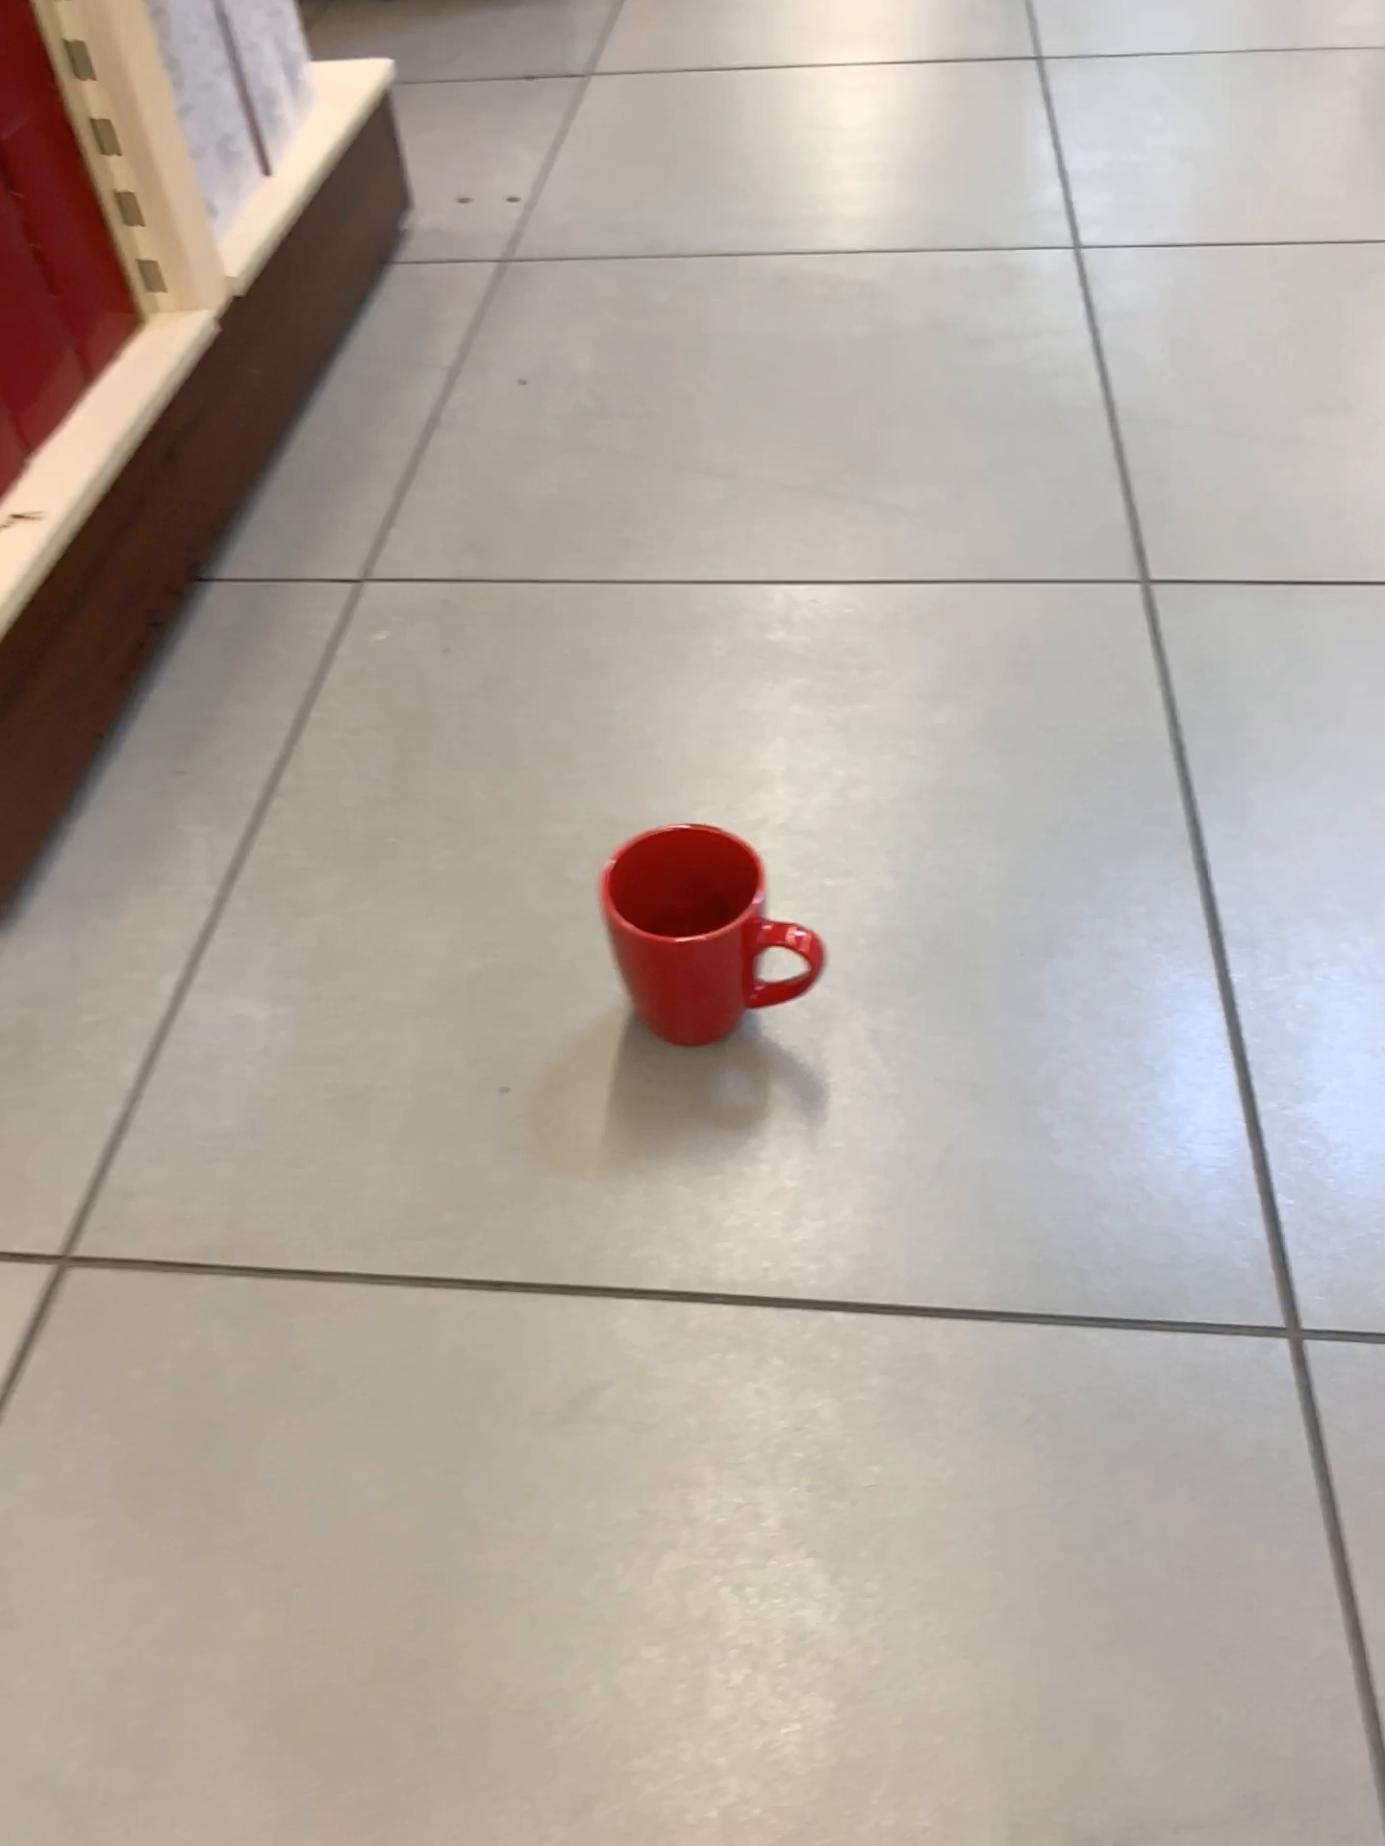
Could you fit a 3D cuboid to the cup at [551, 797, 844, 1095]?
[{"bbox_3d":[0.006,0.010,0.744,0.120,0.090,0.090,17,50,20],"label":"cup"}]
